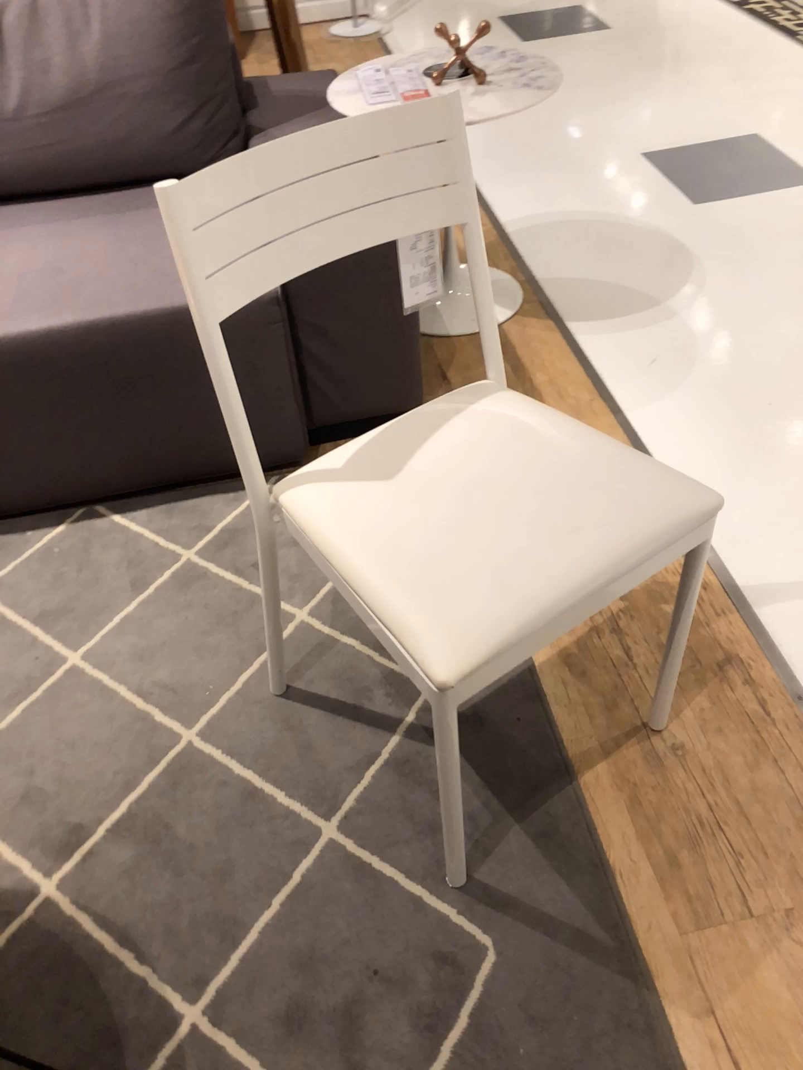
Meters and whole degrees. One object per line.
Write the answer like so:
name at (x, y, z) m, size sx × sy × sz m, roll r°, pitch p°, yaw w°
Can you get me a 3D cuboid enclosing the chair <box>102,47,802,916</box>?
chair at (0.073, -0.045, 1.029) m, size 0.451 × 0.774 × 0.472 m, roll -30°, pitch 48°, yaw -22°
